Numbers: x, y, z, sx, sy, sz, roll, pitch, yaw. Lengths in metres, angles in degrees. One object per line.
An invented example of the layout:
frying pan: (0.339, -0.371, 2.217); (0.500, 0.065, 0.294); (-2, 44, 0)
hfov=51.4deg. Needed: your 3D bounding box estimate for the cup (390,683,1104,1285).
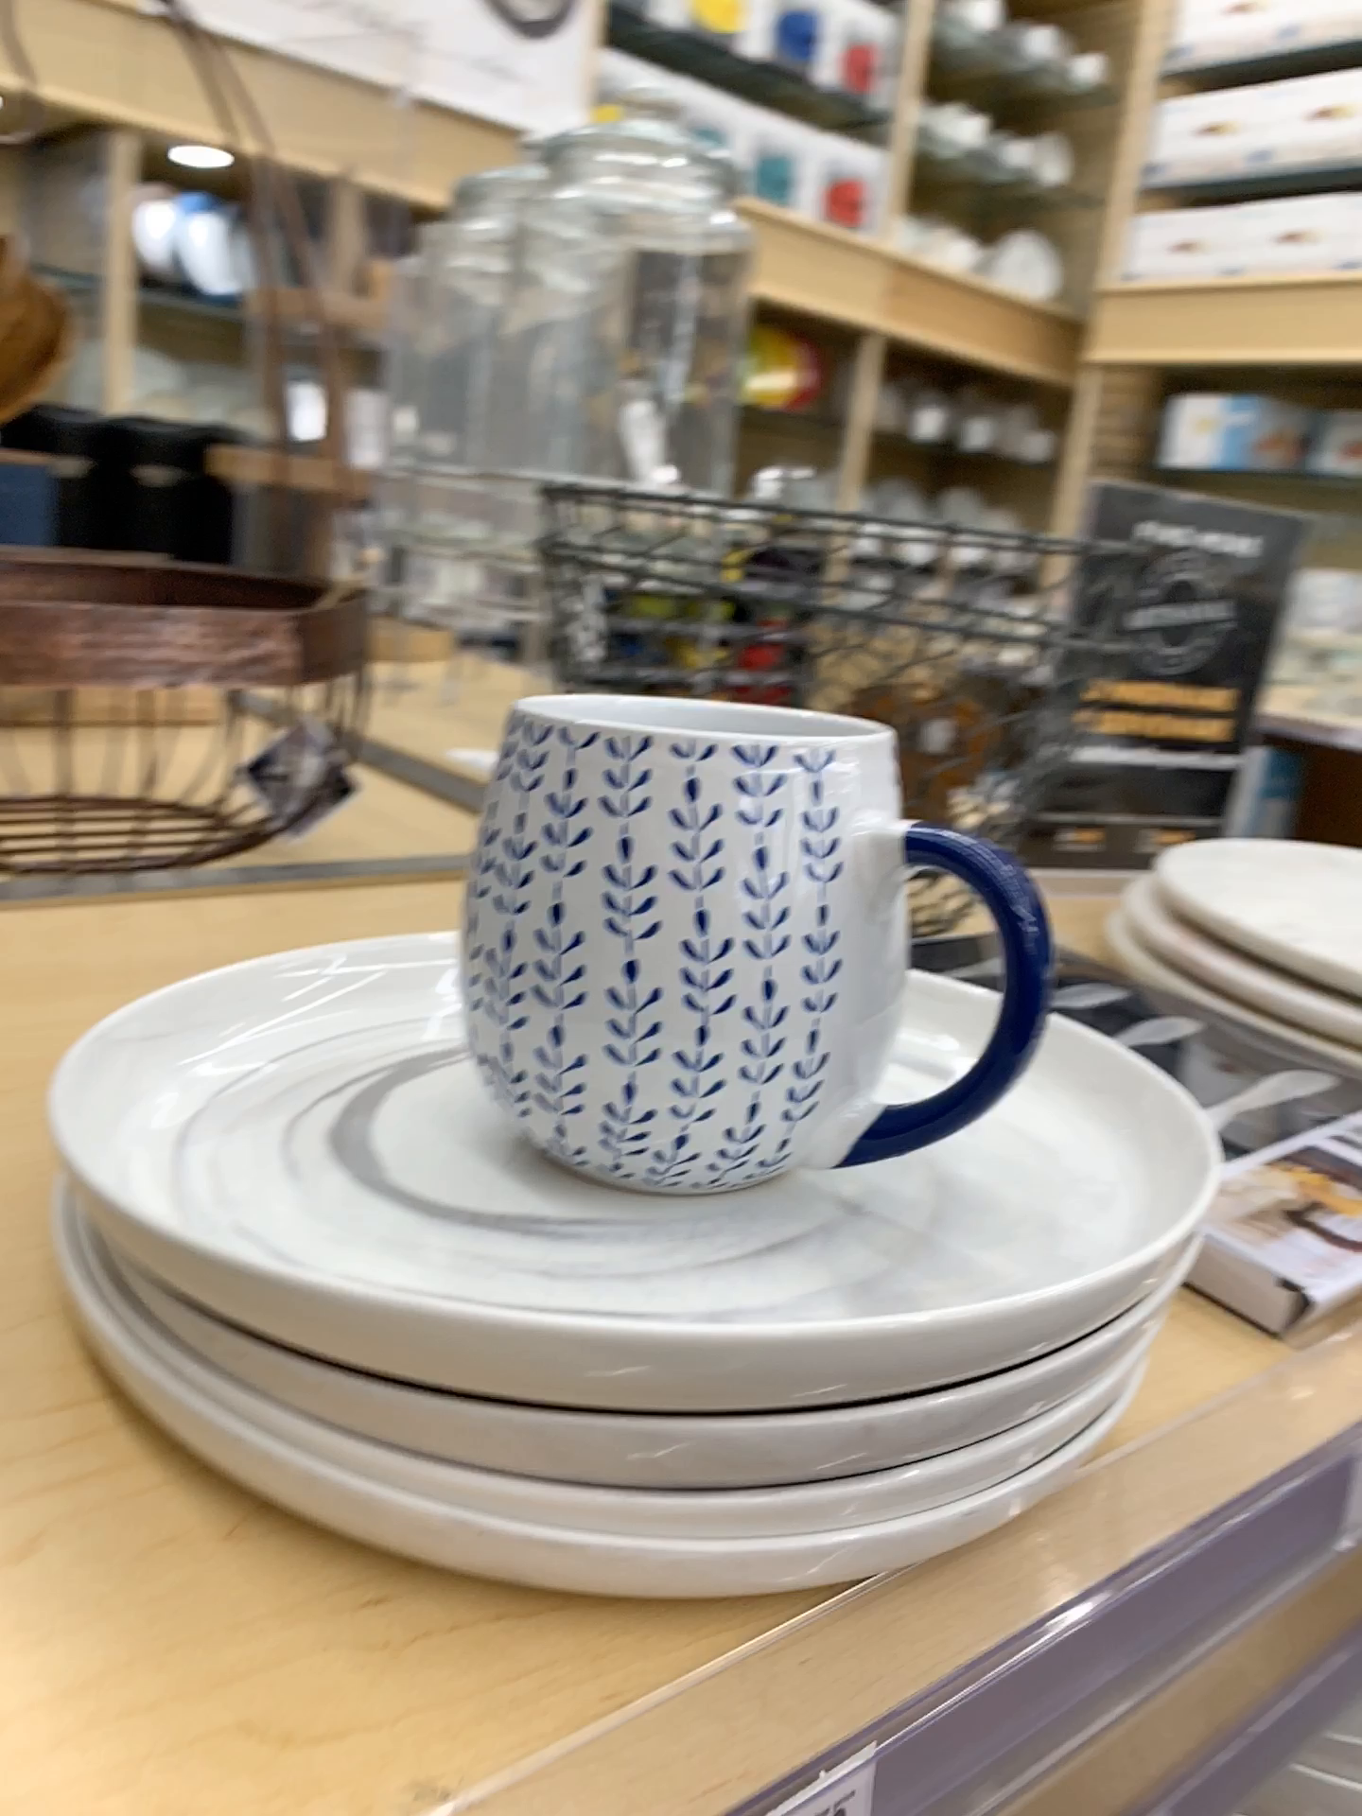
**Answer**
cup: (0.015, 0.005, 0.339); (0.128, 0.097, 0.104); (14, 17, 32)
